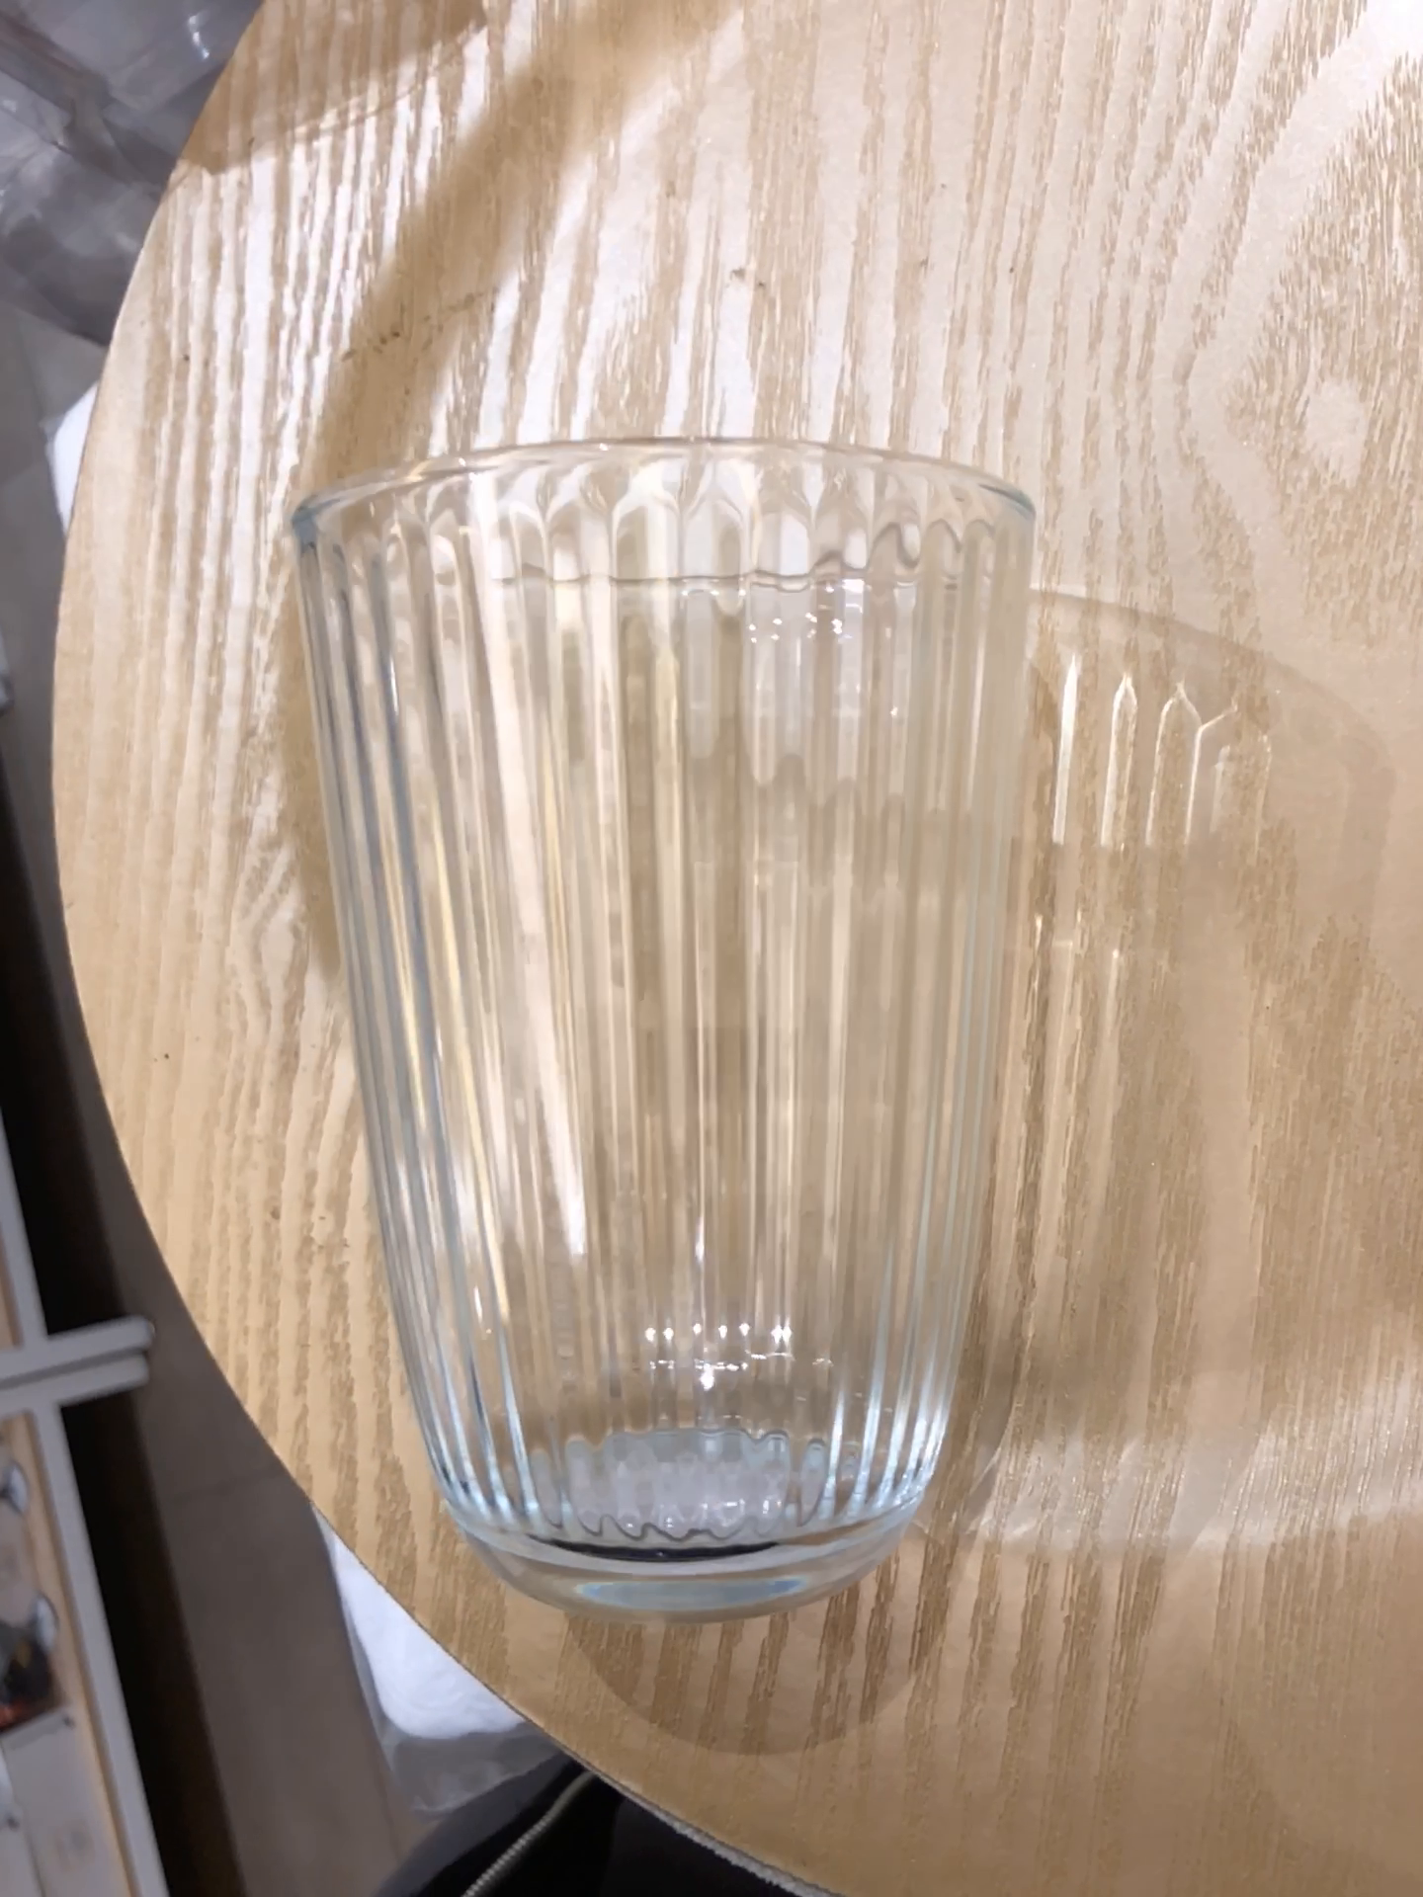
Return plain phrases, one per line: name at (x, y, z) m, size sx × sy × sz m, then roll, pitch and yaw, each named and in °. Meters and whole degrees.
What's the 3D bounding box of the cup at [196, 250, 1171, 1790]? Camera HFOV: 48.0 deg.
cup at (0.000, 0.007, 0.186) m, size 0.090 × 0.070 × 0.130 m, roll -1°, pitch 87°, yaw 27°
